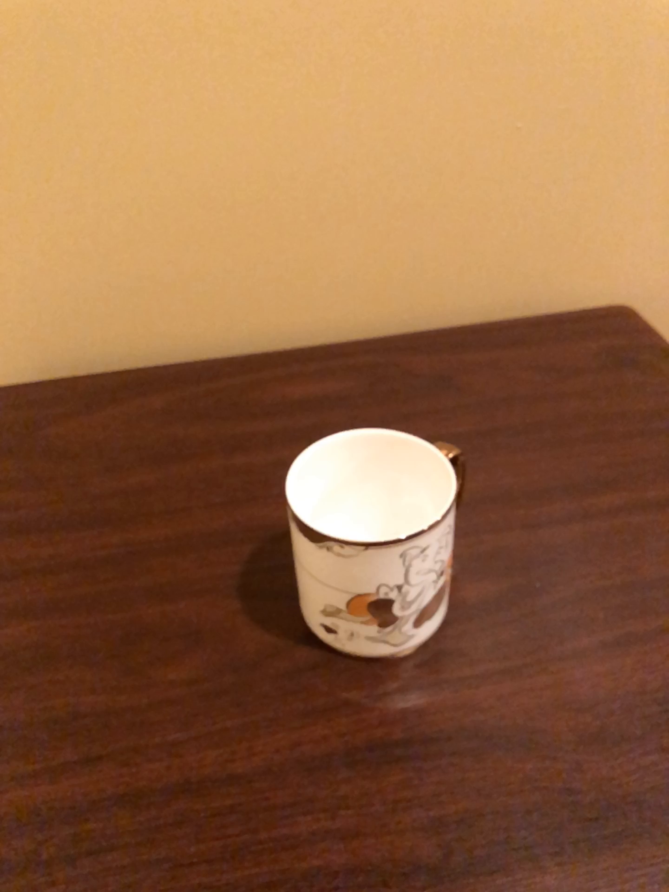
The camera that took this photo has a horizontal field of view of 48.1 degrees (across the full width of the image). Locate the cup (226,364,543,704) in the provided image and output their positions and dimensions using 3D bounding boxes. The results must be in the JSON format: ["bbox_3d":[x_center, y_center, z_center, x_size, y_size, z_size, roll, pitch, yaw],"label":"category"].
[{"bbox_3d":[0.031,0.042,0.426,0.100,0.099,0.140,28,48,35],"label":"cup"}]
